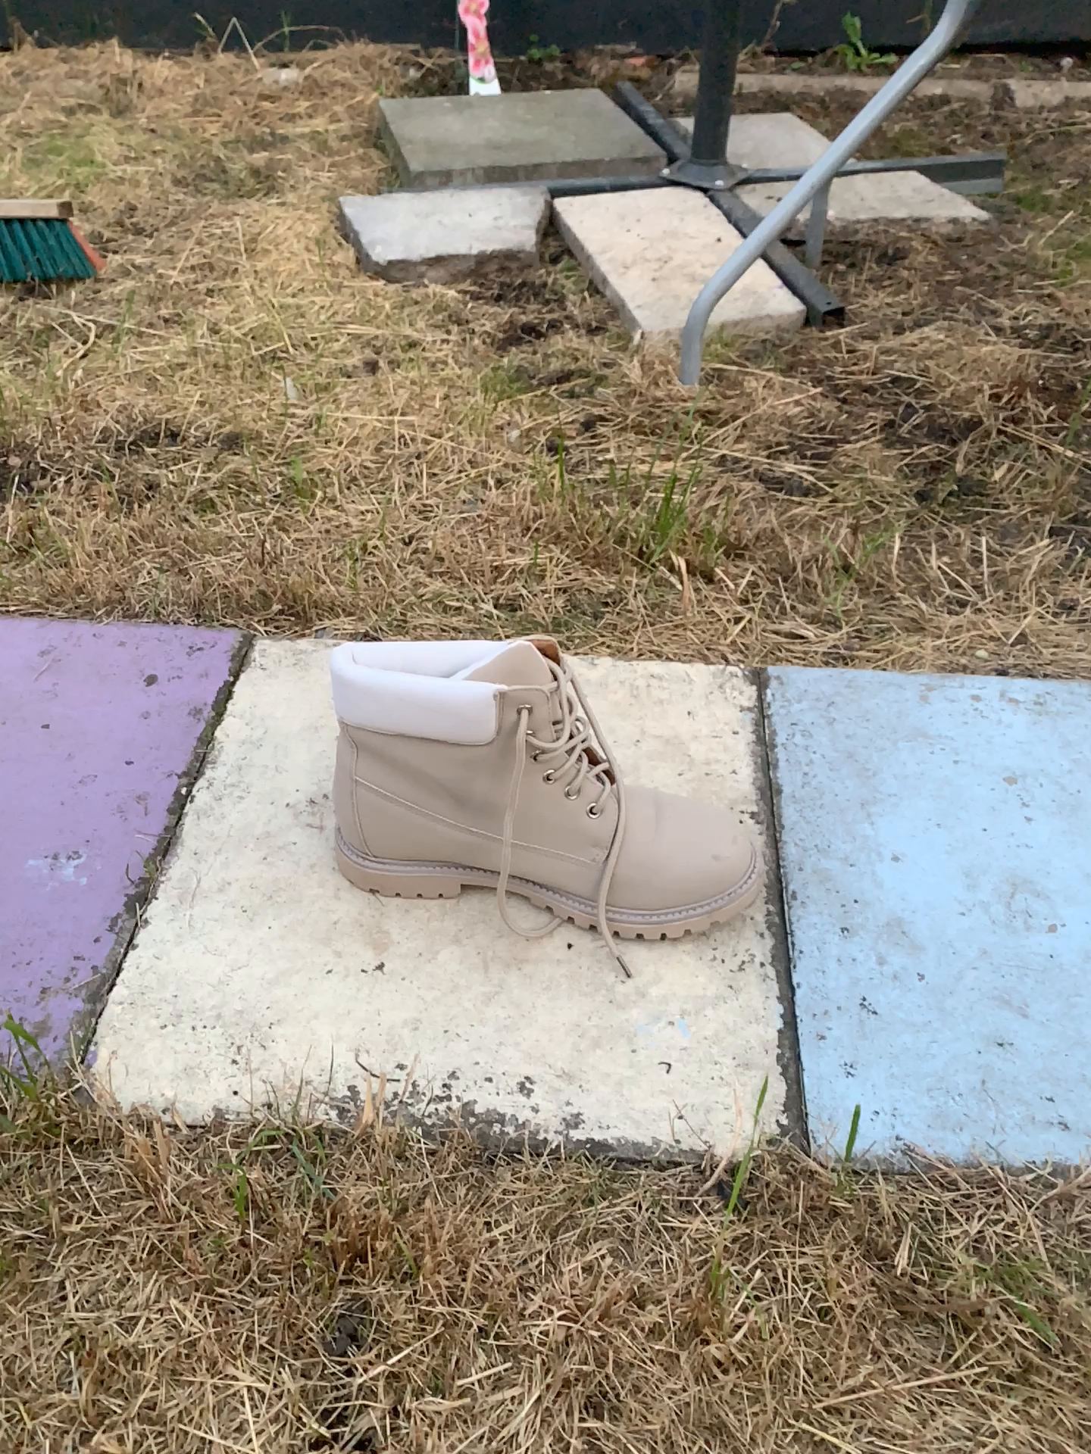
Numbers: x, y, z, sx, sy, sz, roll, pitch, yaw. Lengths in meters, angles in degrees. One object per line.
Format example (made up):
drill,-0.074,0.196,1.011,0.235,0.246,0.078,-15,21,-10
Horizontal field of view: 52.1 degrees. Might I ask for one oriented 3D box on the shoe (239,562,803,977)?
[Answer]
shoe,-0.008,0.027,0.649,0.280,0.198,0.101,6,43,7
